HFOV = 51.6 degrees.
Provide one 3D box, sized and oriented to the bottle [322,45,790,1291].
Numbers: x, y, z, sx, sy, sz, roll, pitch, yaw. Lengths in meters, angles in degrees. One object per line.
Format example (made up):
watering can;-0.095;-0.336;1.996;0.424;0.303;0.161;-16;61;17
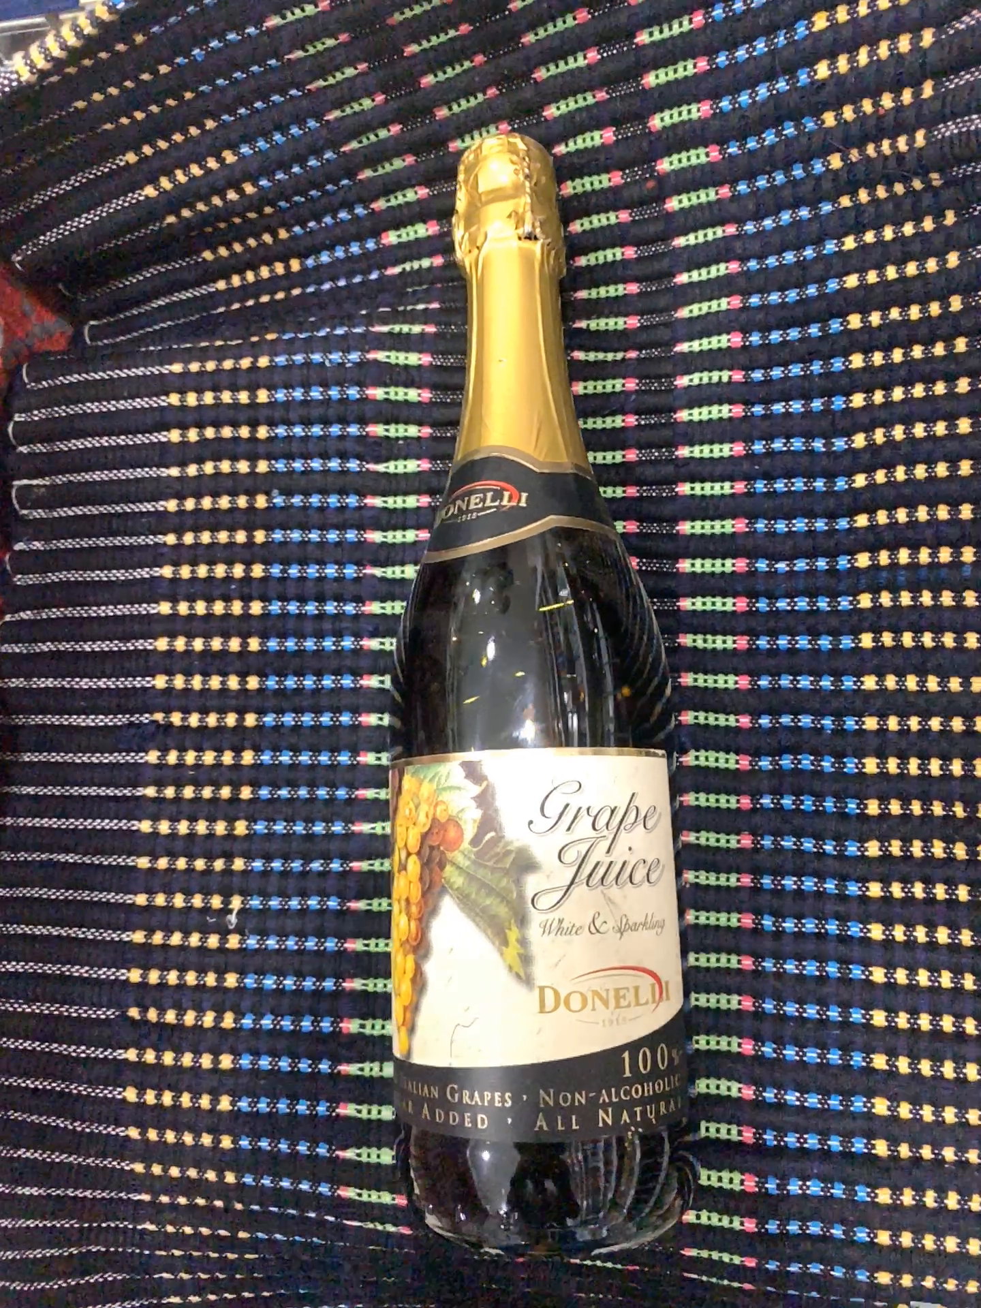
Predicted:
bottle;0.012;-0.010;0.277;0.090;0.080;0.300;-3;73;5
